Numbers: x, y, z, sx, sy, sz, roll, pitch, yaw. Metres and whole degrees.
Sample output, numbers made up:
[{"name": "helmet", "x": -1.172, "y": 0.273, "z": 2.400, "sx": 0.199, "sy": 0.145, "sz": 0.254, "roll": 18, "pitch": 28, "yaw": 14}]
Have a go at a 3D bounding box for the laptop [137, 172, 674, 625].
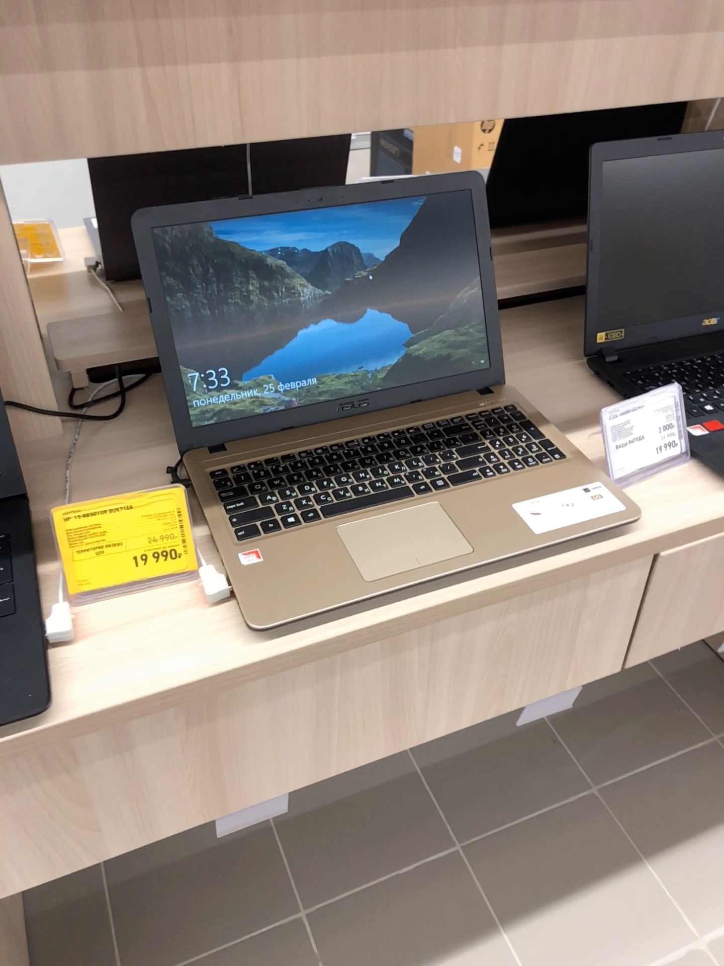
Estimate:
[{"name": "laptop", "x": 0.016, "y": -0.117, "z": 0.757, "sx": 0.366, "sy": 0.208, "sz": 0.351, "roll": -13, "pitch": 40, "yaw": -19}]
